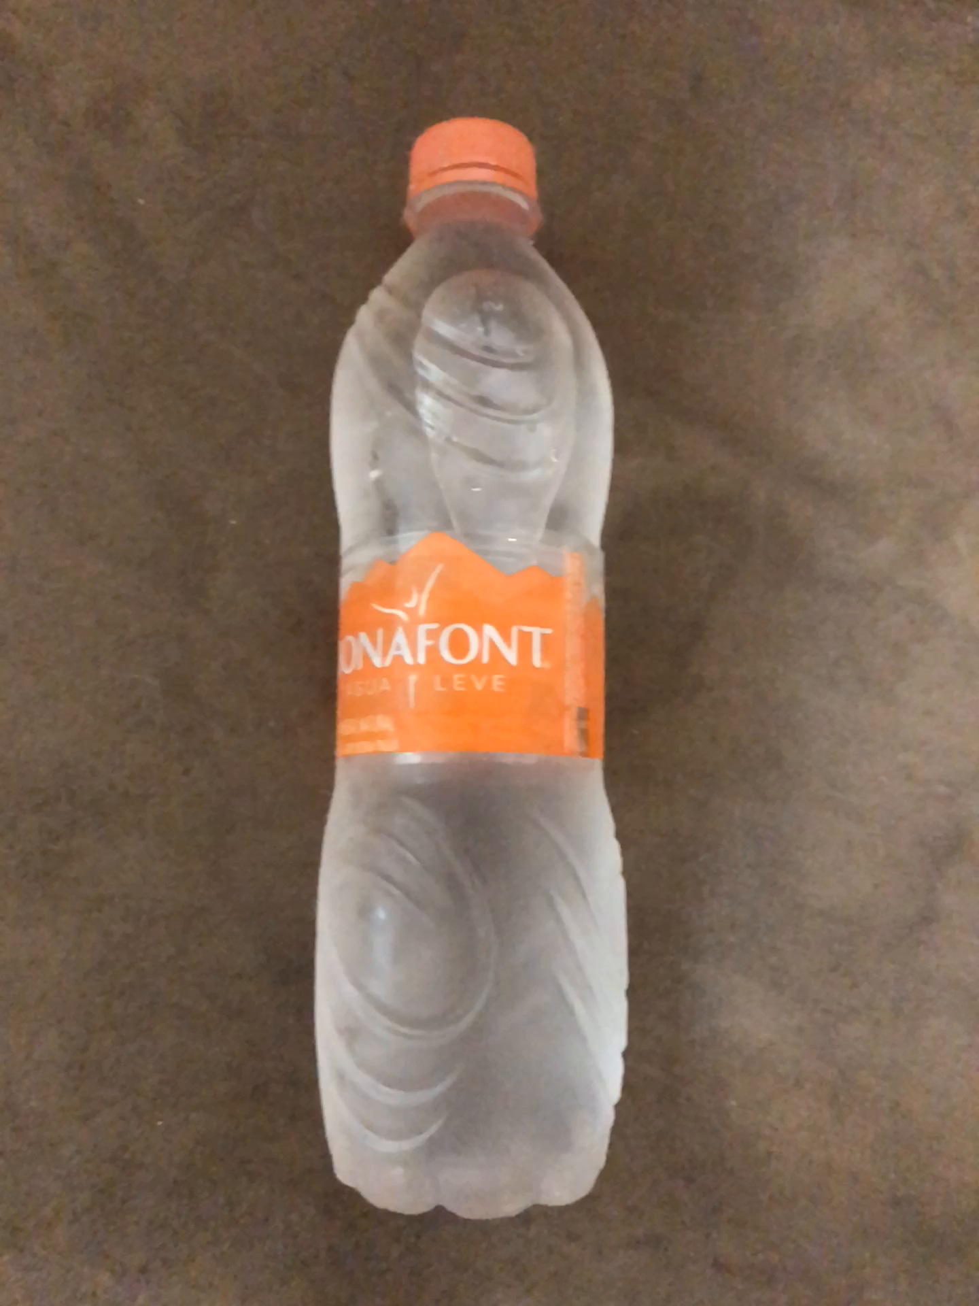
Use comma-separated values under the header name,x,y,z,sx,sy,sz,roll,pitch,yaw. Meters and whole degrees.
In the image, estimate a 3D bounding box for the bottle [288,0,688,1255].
name,x,y,z,sx,sy,sz,roll,pitch,yaw
bottle,-0.003,-0.012,0.236,0.070,0.050,0.240,2,82,-14
